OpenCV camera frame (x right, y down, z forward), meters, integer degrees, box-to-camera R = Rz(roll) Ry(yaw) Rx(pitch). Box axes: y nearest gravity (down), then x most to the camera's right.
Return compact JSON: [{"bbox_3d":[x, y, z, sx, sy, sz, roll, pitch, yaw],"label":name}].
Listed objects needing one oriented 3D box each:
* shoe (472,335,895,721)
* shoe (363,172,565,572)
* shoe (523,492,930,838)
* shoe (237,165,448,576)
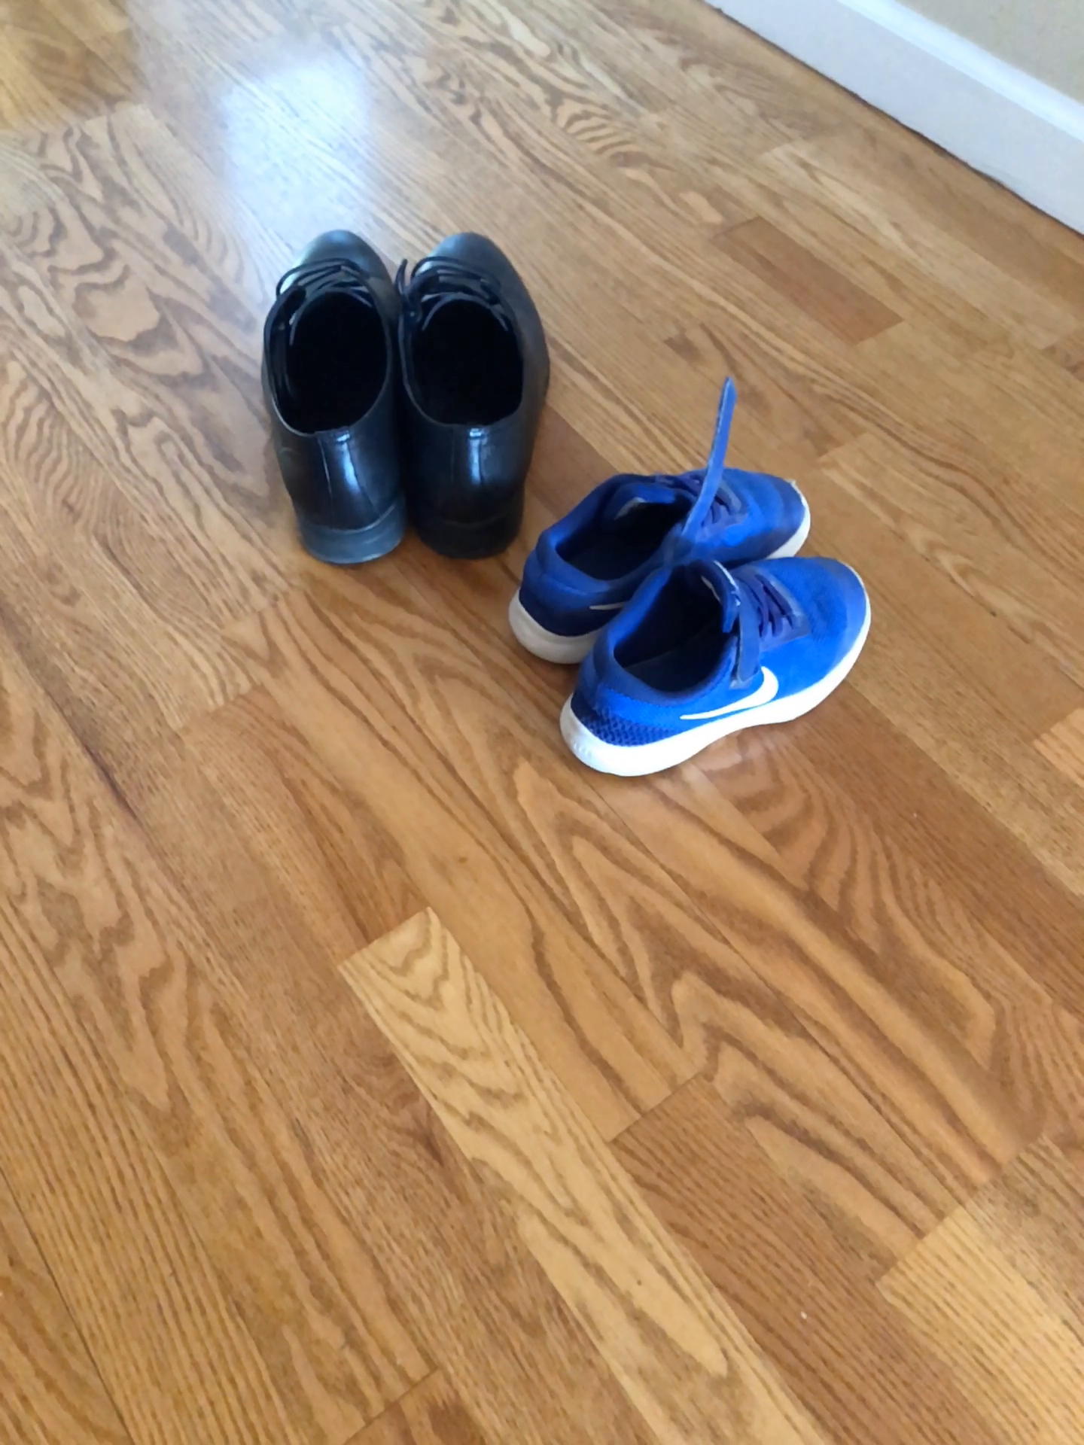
[{"bbox_3d":[0.083,-0.123,0.741,0.230,0.129,0.100,-27,60,-19],"label":"shoe"},{"bbox_3d":[-0.055,-0.257,0.838,0.120,0.090,0.321,-1,55,-3],"label":"shoe"},{"bbox_3d":[0.108,-0.039,0.709,0.220,0.070,0.100,-30,61,-21],"label":"shoe"},{"bbox_3d":[-0.138,-0.256,0.830,0.120,0.090,0.321,-5,55,-5],"label":"shoe"}]
